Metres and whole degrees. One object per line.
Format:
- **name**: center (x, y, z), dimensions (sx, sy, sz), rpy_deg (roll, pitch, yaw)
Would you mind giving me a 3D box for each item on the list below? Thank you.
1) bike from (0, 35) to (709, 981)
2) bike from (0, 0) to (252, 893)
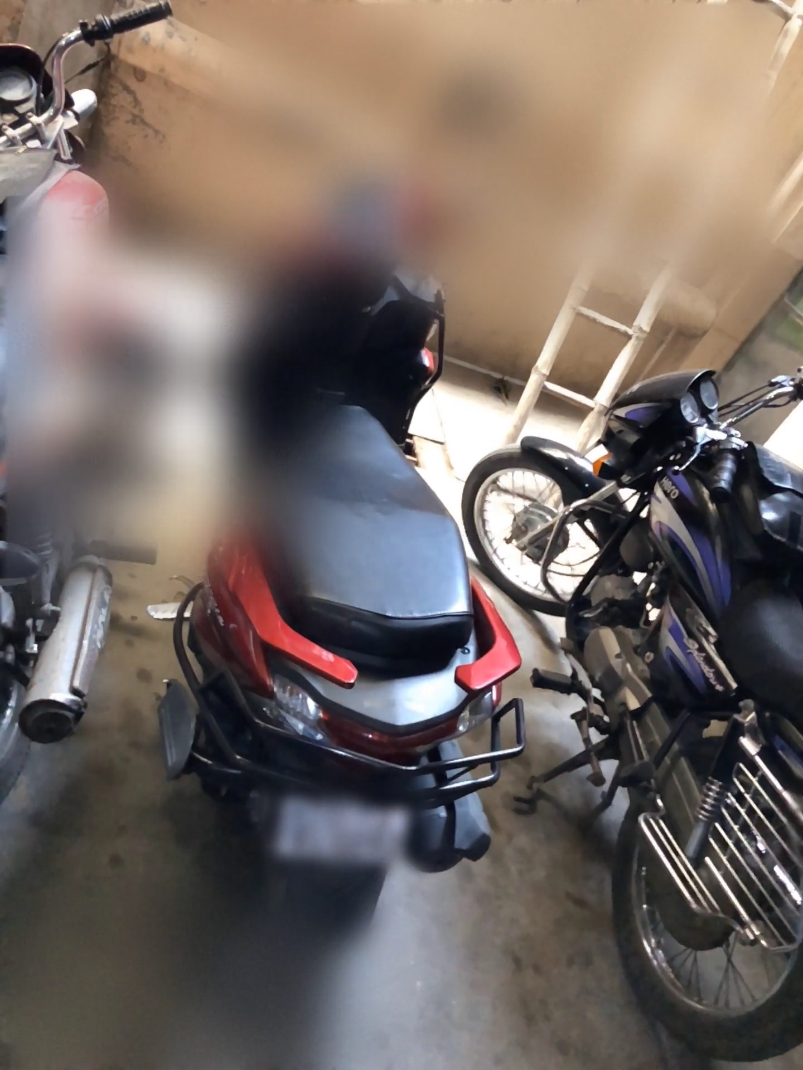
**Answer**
- **bike**: center (-0.267, -0.119, 1.813), dimensions (0.631, 1.140, 1.444), rpy_deg (16, 35, -24)
- **bike**: center (-0.922, -0.445, 1.630), dimensions (0.840, 1.089, 1.655), rpy_deg (16, 33, -24)
